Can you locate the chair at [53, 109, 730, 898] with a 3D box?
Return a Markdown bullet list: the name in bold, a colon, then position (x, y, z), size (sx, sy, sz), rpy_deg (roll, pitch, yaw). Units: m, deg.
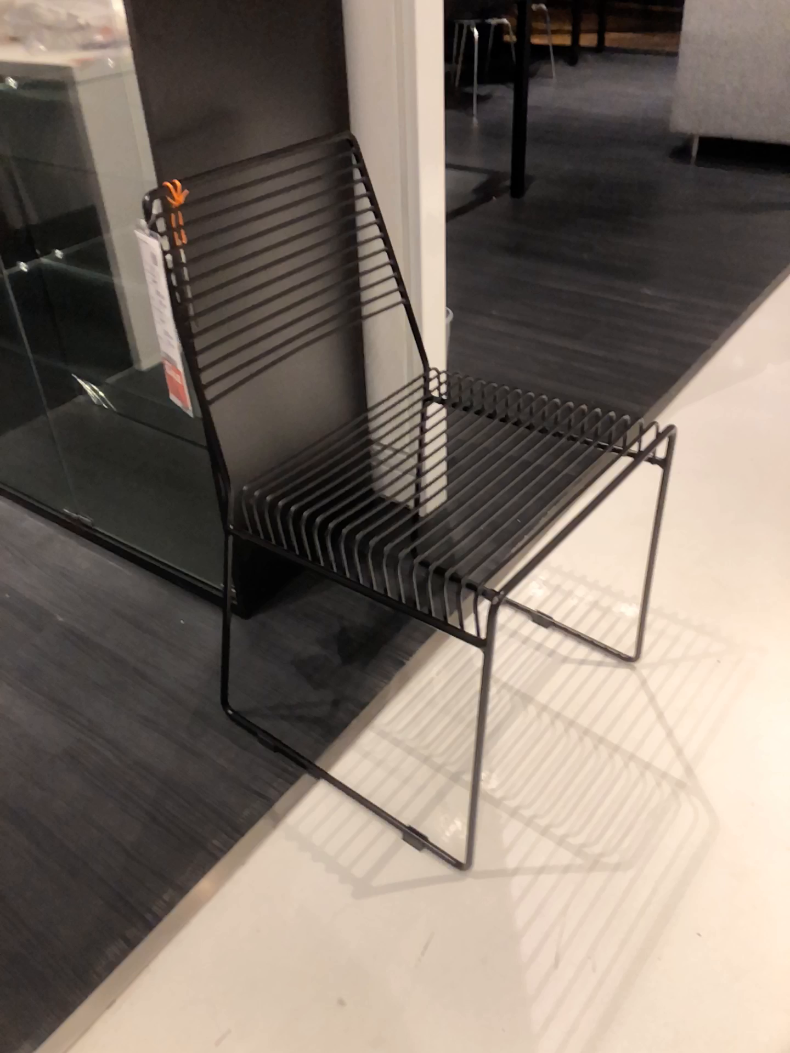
- **chair**: position (0.024, -0.060, 1.142), size (0.502, 0.764, 0.522), rpy_deg (24, 44, 32)
